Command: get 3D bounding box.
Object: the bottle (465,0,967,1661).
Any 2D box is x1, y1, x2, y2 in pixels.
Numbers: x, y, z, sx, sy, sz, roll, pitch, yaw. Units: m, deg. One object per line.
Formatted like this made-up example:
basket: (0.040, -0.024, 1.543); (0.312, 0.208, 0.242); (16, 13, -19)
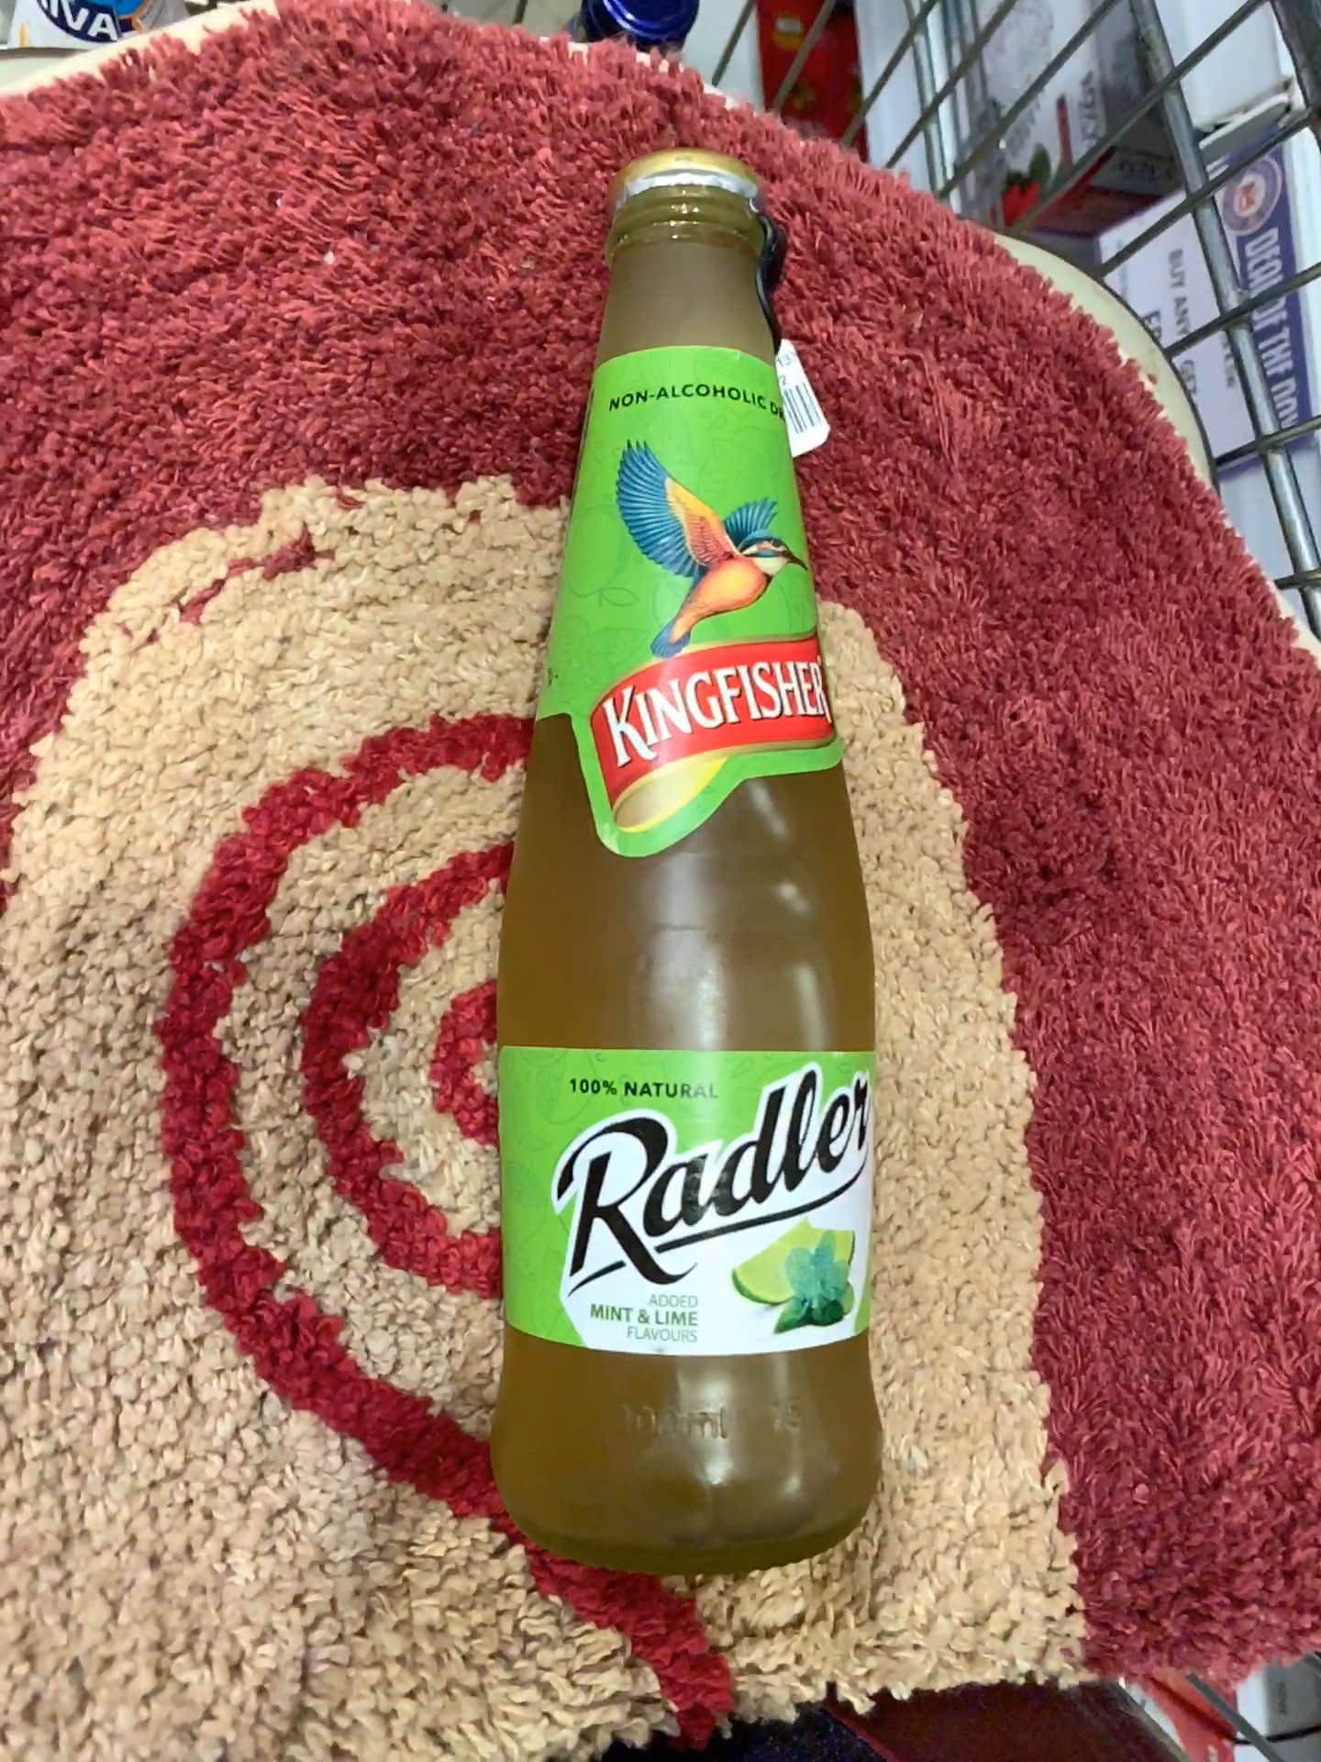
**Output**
bottle: (0.003, -0.018, 0.221); (0.060, 0.060, 0.240); (1, 84, -16)
